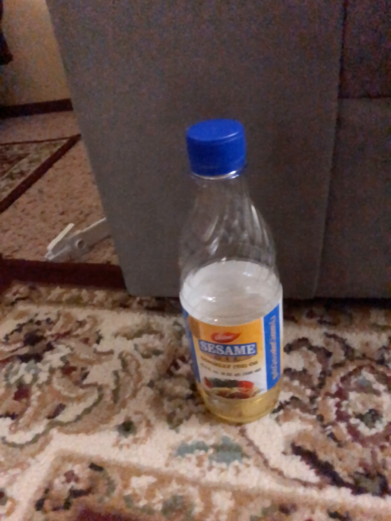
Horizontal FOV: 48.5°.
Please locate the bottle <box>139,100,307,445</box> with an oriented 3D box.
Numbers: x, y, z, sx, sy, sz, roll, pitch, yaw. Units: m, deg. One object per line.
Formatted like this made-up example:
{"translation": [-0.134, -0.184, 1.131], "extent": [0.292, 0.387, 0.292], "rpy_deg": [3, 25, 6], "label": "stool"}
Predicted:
{"translation": [0.031, 0.017, 0.265], "extent": [0.070, 0.199, 0.070], "rpy_deg": [-7, 32, 4], "label": "bottle"}
